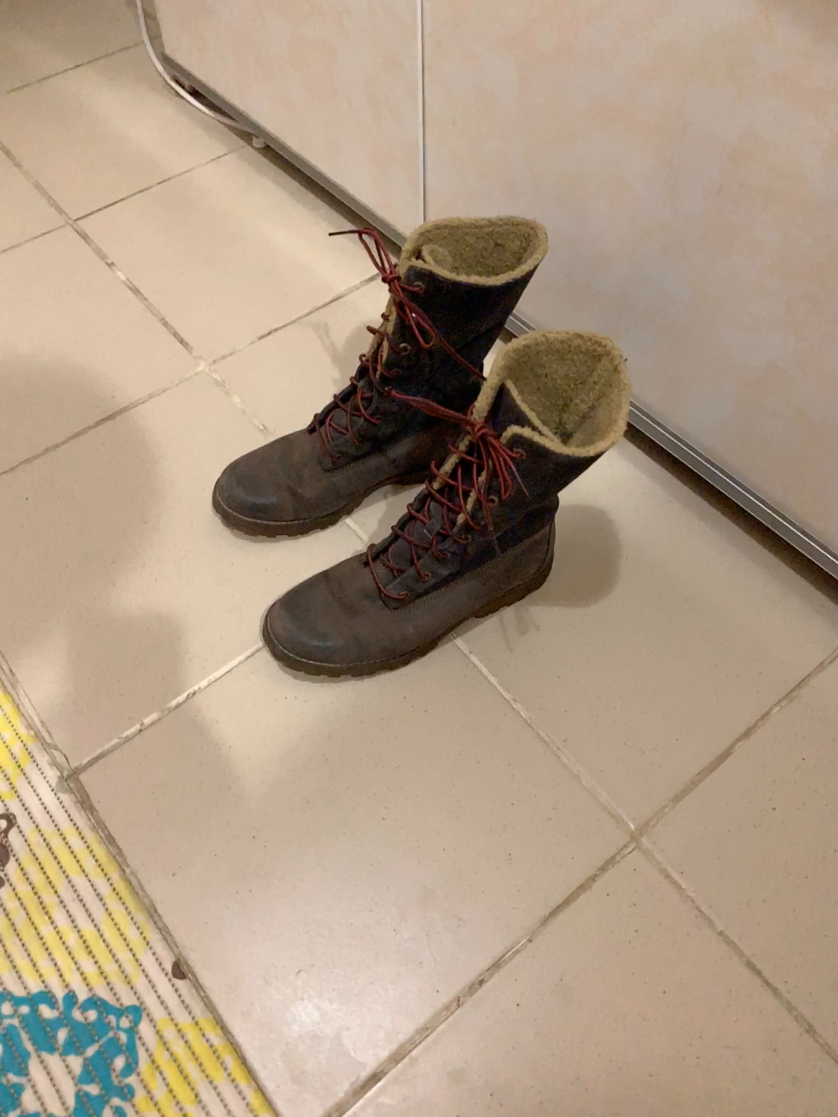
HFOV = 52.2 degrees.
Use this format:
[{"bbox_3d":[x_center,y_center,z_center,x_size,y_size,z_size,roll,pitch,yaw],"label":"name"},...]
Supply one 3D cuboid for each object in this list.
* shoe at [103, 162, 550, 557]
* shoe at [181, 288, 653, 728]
[{"bbox_3d":[-0.064,-0.144,0.681,0.280,0.249,0.100,-18,64,-11],"label":"shoe"},{"bbox_3d":[0.008,-0.024,0.638,0.280,0.249,0.100,-24,57,-10],"label":"shoe"}]
